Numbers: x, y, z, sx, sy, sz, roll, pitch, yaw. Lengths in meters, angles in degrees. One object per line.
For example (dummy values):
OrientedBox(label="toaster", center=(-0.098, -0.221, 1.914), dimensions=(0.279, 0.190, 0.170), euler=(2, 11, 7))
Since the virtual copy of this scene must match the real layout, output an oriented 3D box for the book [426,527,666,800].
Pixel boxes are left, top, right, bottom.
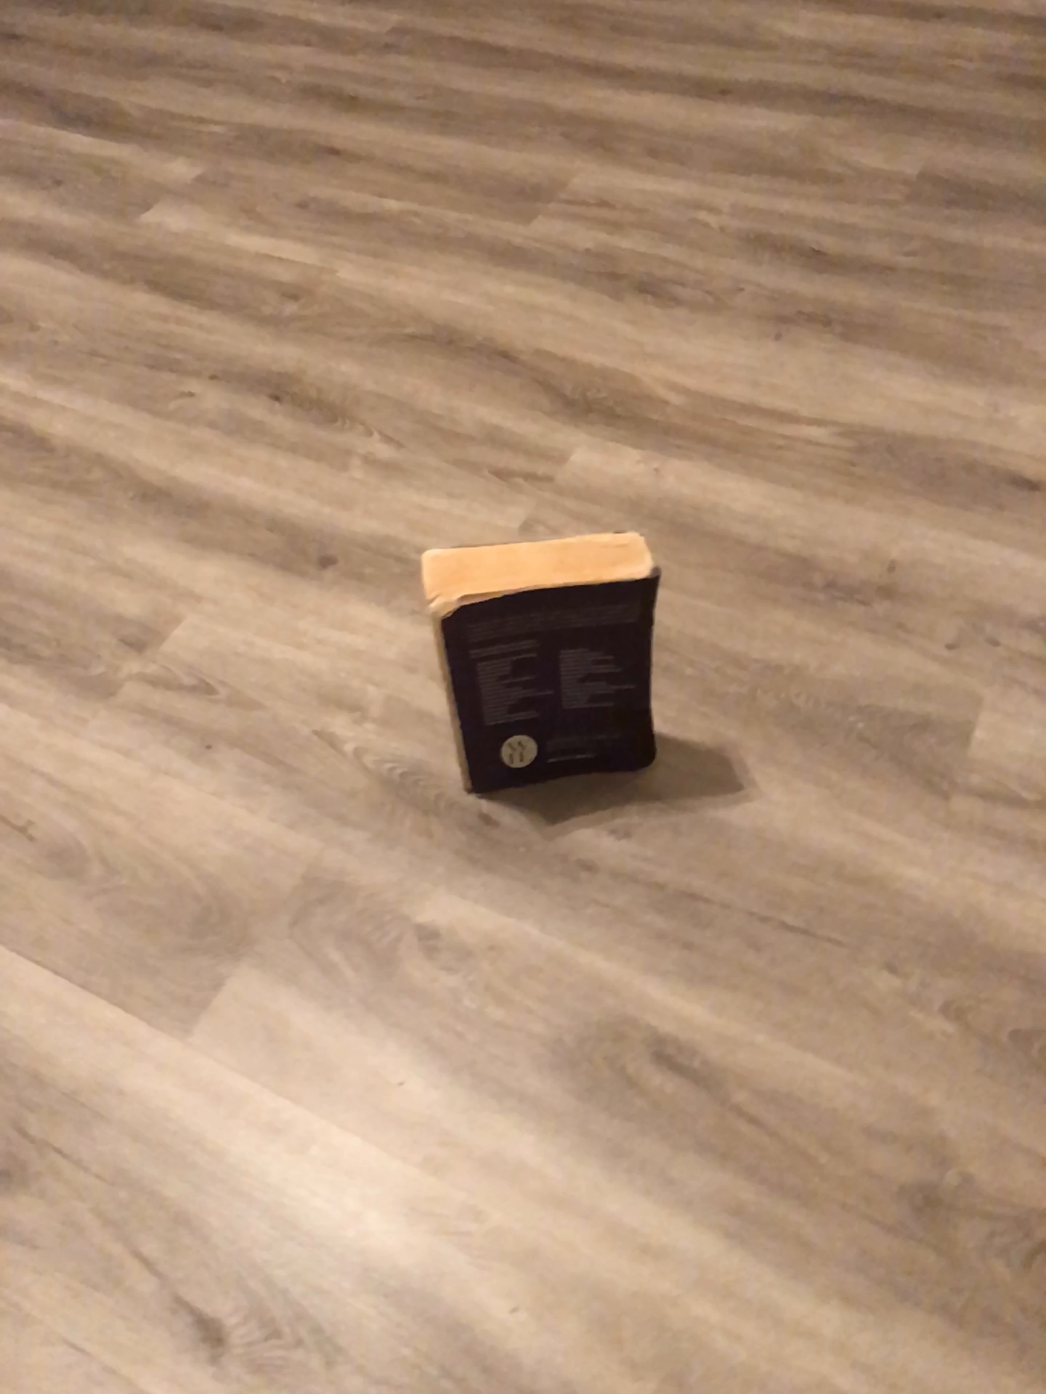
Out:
OrientedBox(label="book", center=(0.021, -0.017, 0.852), dimensions=(0.155, 0.219, 0.060), euler=(-6, 52, 0))
